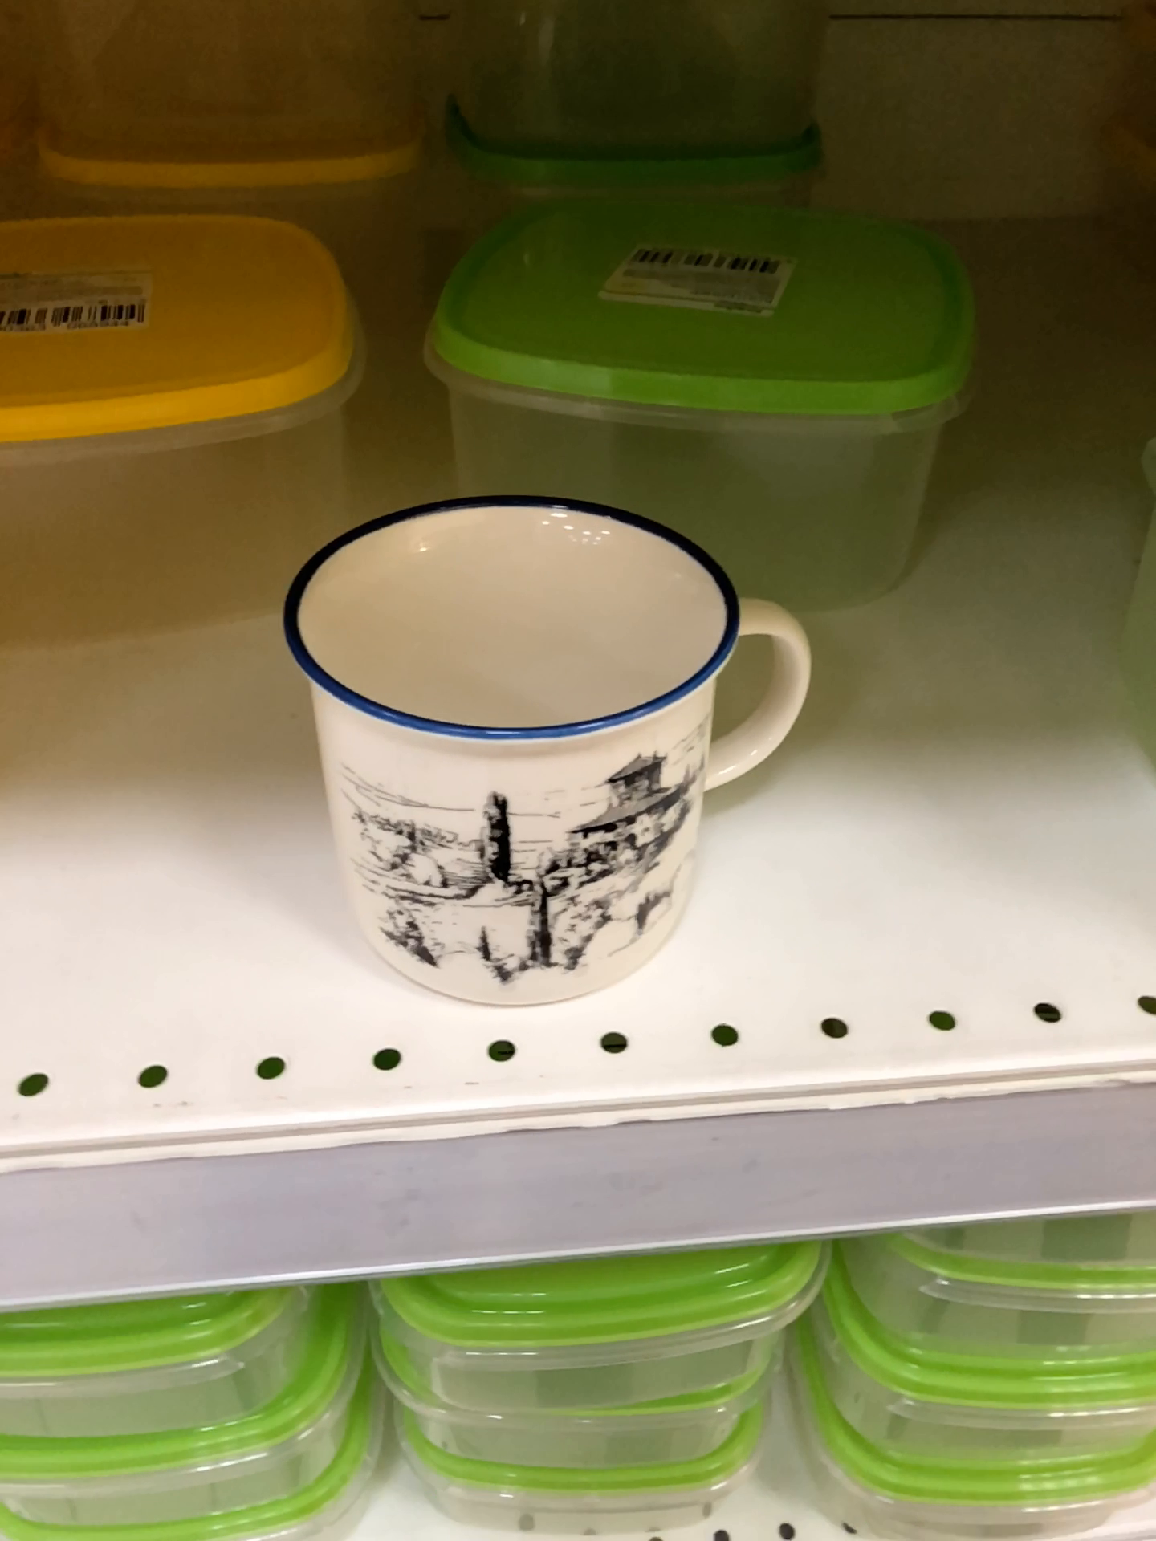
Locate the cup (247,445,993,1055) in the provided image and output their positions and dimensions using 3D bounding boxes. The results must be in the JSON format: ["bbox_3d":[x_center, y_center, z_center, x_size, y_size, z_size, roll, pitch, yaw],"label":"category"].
[{"bbox_3d":[0.001,-0.012,0.285,0.130,0.068,0.103,-9,41,-12],"label":"cup"}]
